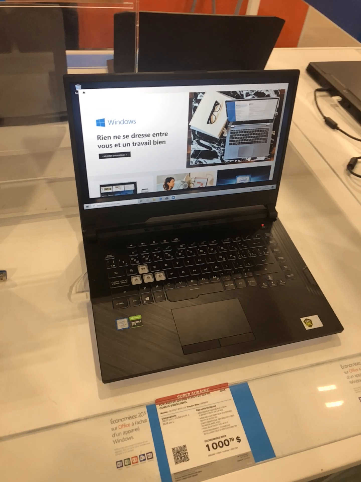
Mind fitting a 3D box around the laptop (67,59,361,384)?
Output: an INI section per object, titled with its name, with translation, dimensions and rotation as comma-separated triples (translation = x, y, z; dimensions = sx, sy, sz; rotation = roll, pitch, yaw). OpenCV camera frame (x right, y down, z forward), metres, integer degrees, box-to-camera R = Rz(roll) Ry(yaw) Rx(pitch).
[laptop]
translation = 0.043, -0.054, 0.587
dimensions = 0.363, 0.236, 0.345
rotation = -8, 52, -14
